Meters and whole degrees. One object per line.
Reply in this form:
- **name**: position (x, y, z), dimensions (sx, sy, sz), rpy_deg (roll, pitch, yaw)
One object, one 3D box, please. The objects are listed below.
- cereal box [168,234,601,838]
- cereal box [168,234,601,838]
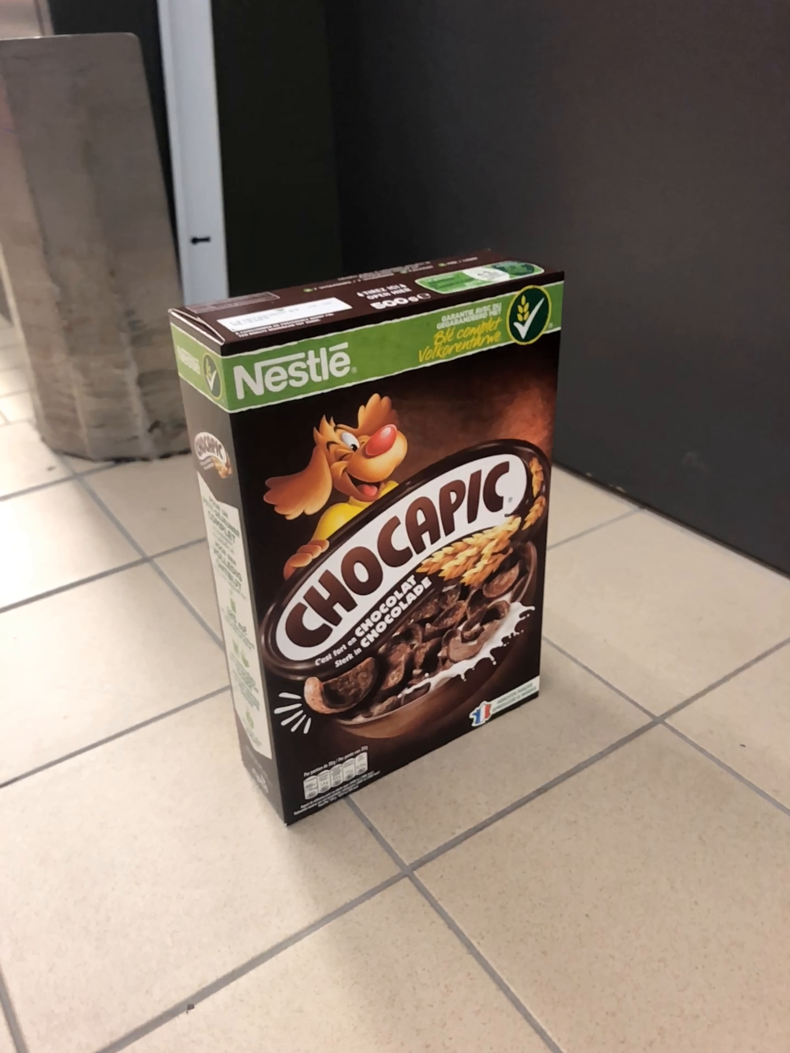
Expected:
- **cereal box**: position (0.003, 0.004, 0.486), dimensions (0.201, 0.288, 0.070), rpy_deg (-19, 34, -28)
- **cereal box**: position (0.003, 0.004, 0.486), dimensions (0.201, 0.288, 0.070), rpy_deg (-19, 34, -28)
